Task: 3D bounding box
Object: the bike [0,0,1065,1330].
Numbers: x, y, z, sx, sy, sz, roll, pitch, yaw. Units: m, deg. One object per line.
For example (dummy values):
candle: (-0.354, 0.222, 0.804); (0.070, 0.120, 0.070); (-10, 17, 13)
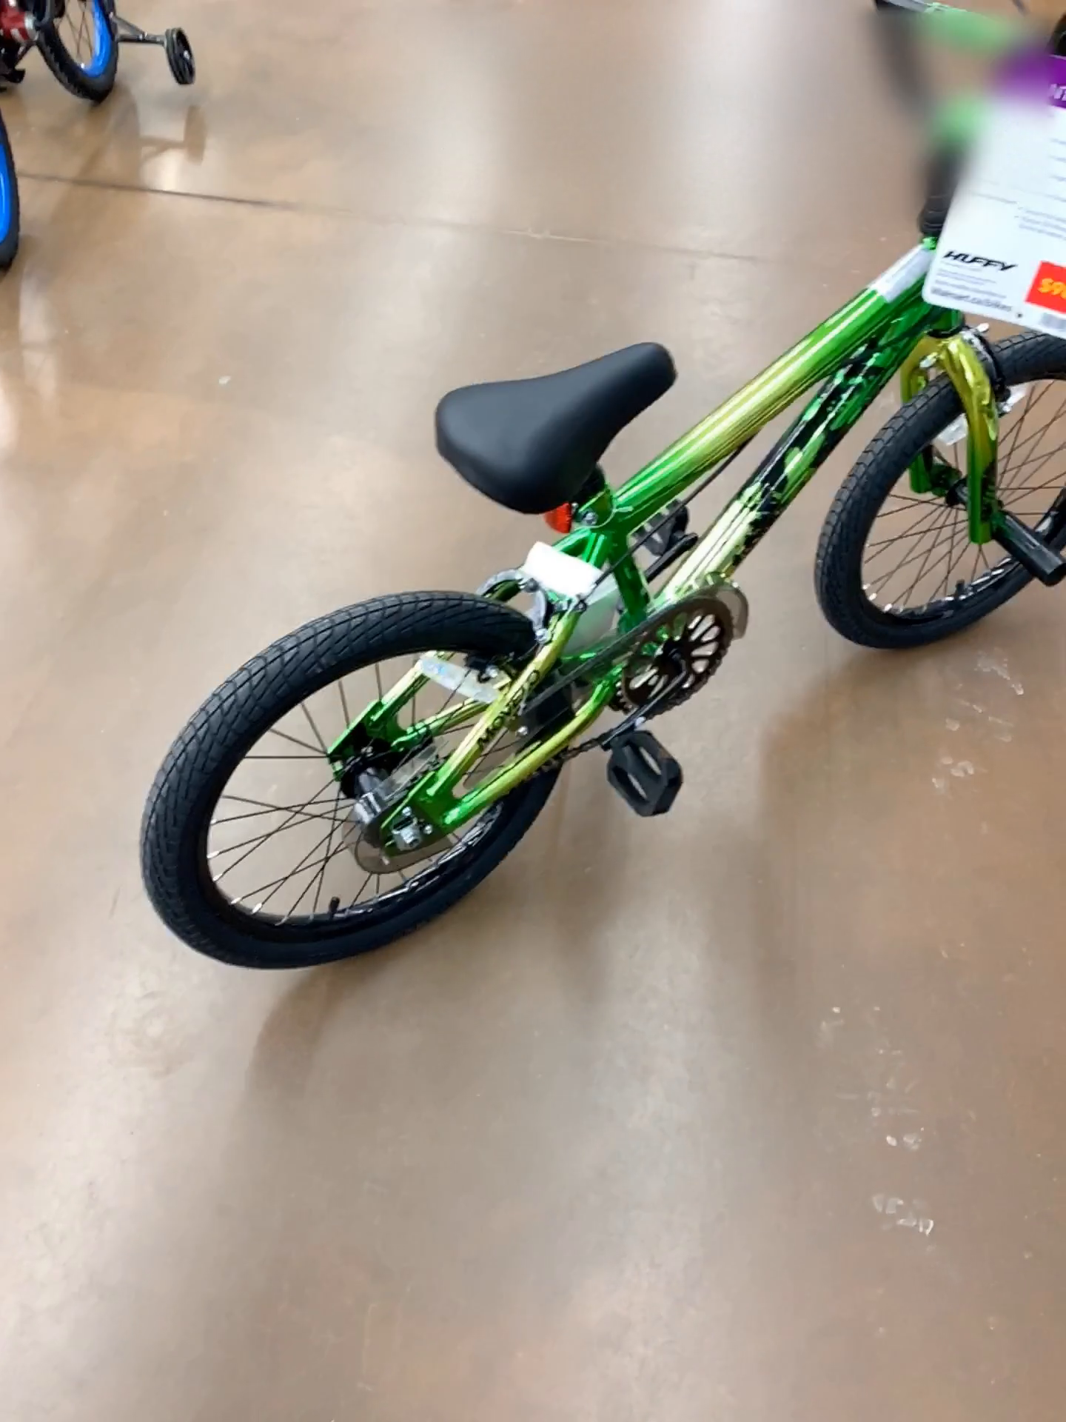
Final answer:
bike: (0.313, -0.218, 1.071); (1.407, 1.035, 0.719); (-27, 55, -15)
